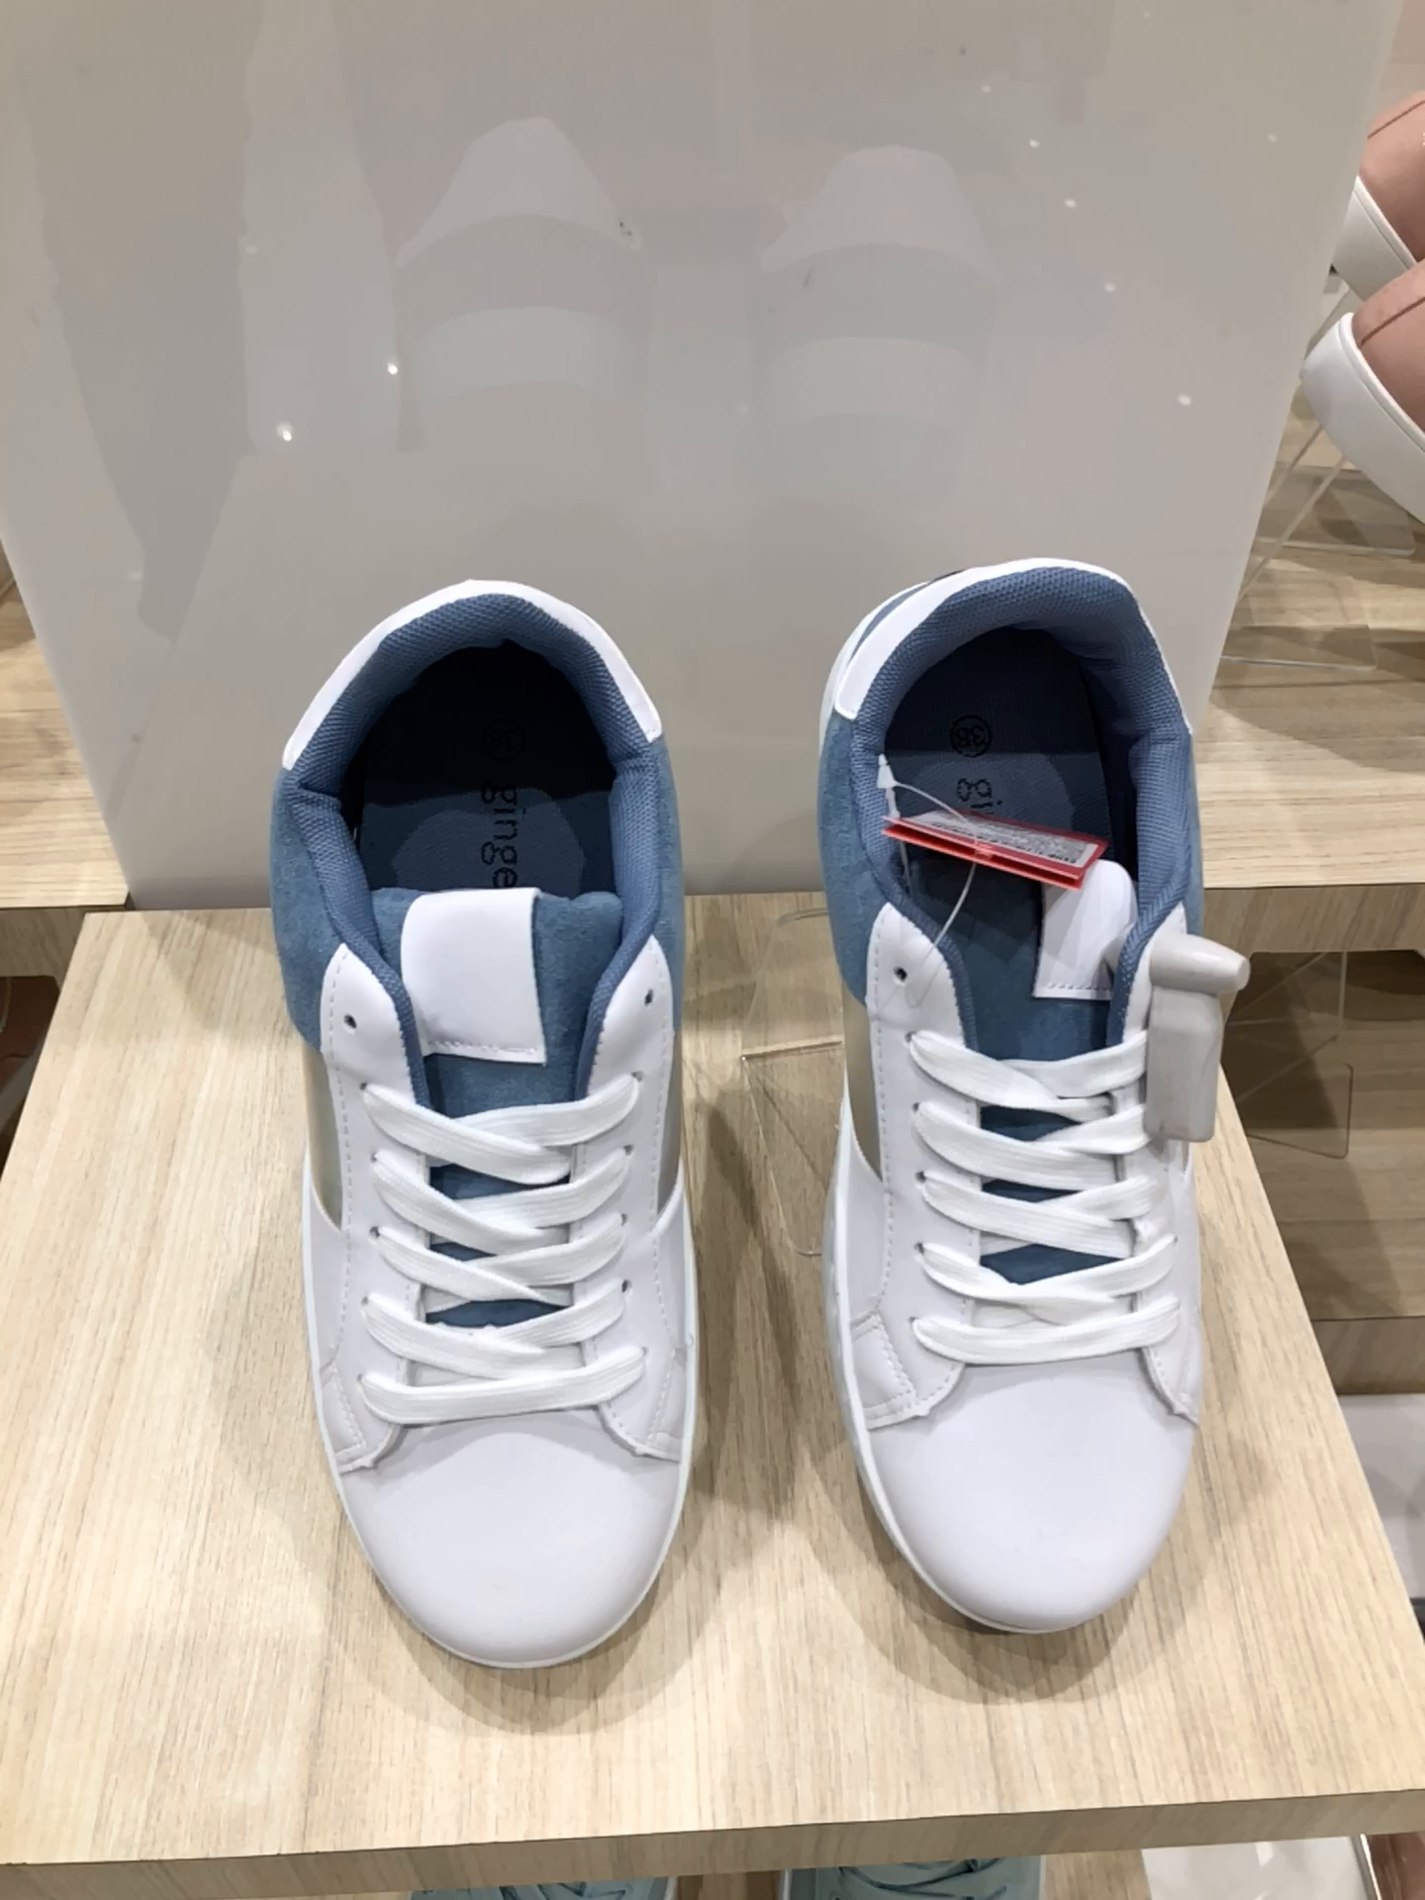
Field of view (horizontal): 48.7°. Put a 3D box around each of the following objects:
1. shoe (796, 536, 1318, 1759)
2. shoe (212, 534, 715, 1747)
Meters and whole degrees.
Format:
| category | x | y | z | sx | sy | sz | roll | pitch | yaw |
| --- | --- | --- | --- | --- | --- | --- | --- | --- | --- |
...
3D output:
| category | x | y | z | sx | sy | sz | roll | pitch | yaw |
| --- | --- | --- | --- | --- | --- | --- | --- | --- | --- |
| shoe | 0.075 | 0.041 | 0.377 | 0.100 | 0.260 | 0.090 | -1 | 5 | -2 |
| shoe | -0.053 | 0.040 | 0.380 | 0.100 | 0.260 | 0.090 | -1 | 5 | -2 |
